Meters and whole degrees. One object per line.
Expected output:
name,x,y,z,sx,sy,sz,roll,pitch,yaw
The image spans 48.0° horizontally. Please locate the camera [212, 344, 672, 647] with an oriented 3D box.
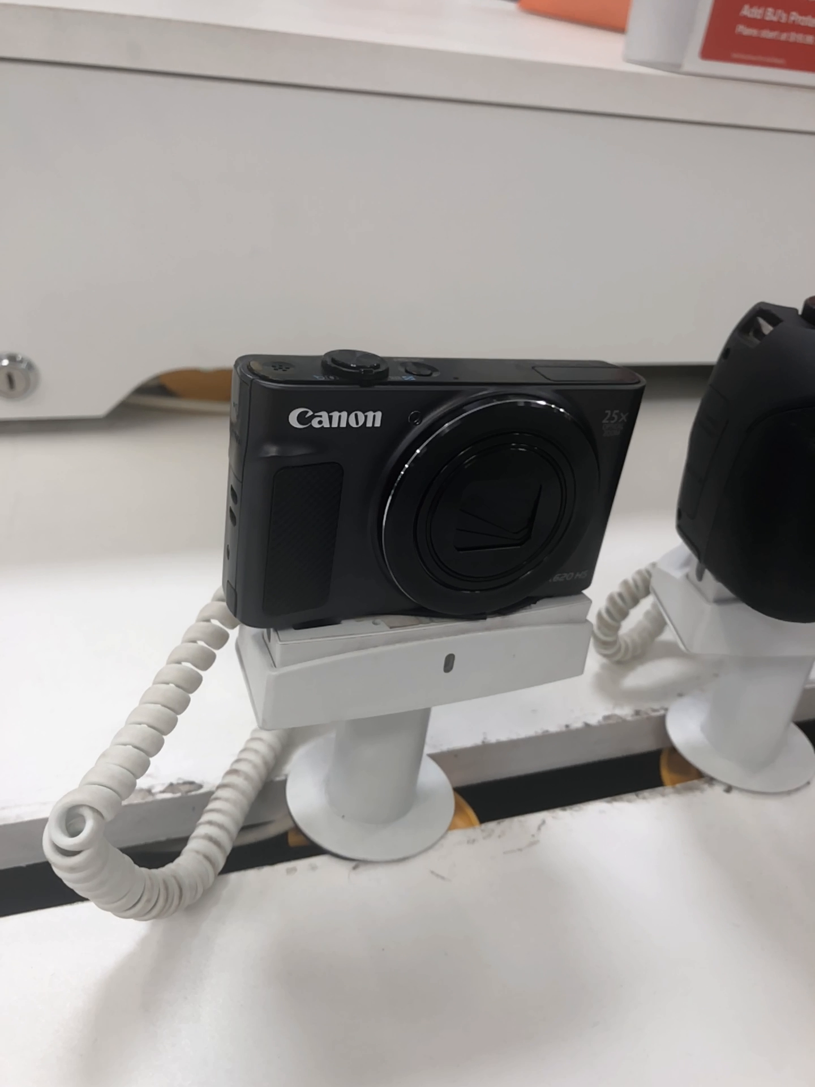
camera,0.006,-0.013,0.207,0.093,0.057,0.025,-5,34,-24
